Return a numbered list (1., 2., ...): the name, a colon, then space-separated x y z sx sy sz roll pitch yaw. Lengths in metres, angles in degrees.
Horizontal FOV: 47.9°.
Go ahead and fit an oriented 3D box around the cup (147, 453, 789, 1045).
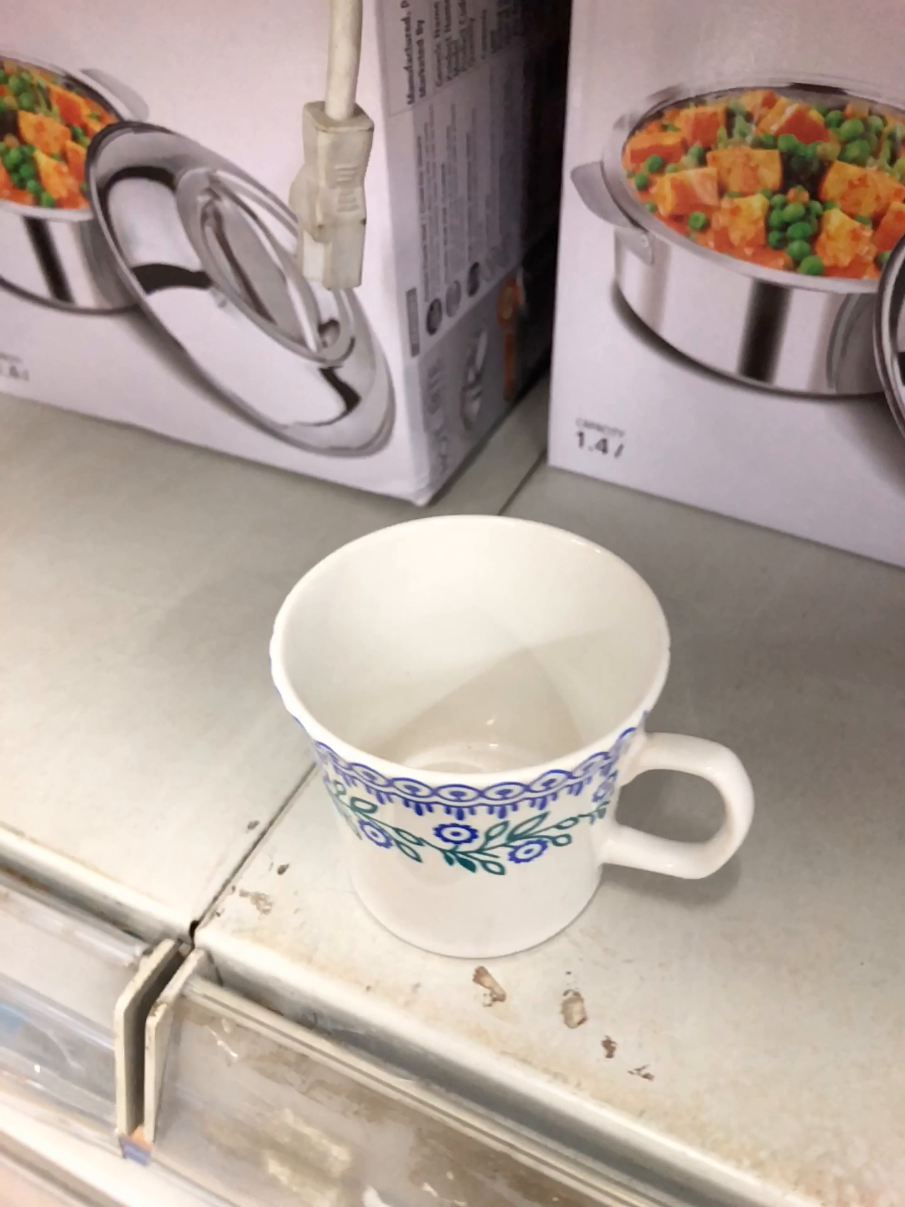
1. cup: 0.007 0.025 0.209 0.100 0.070 0.070 12 43 16
